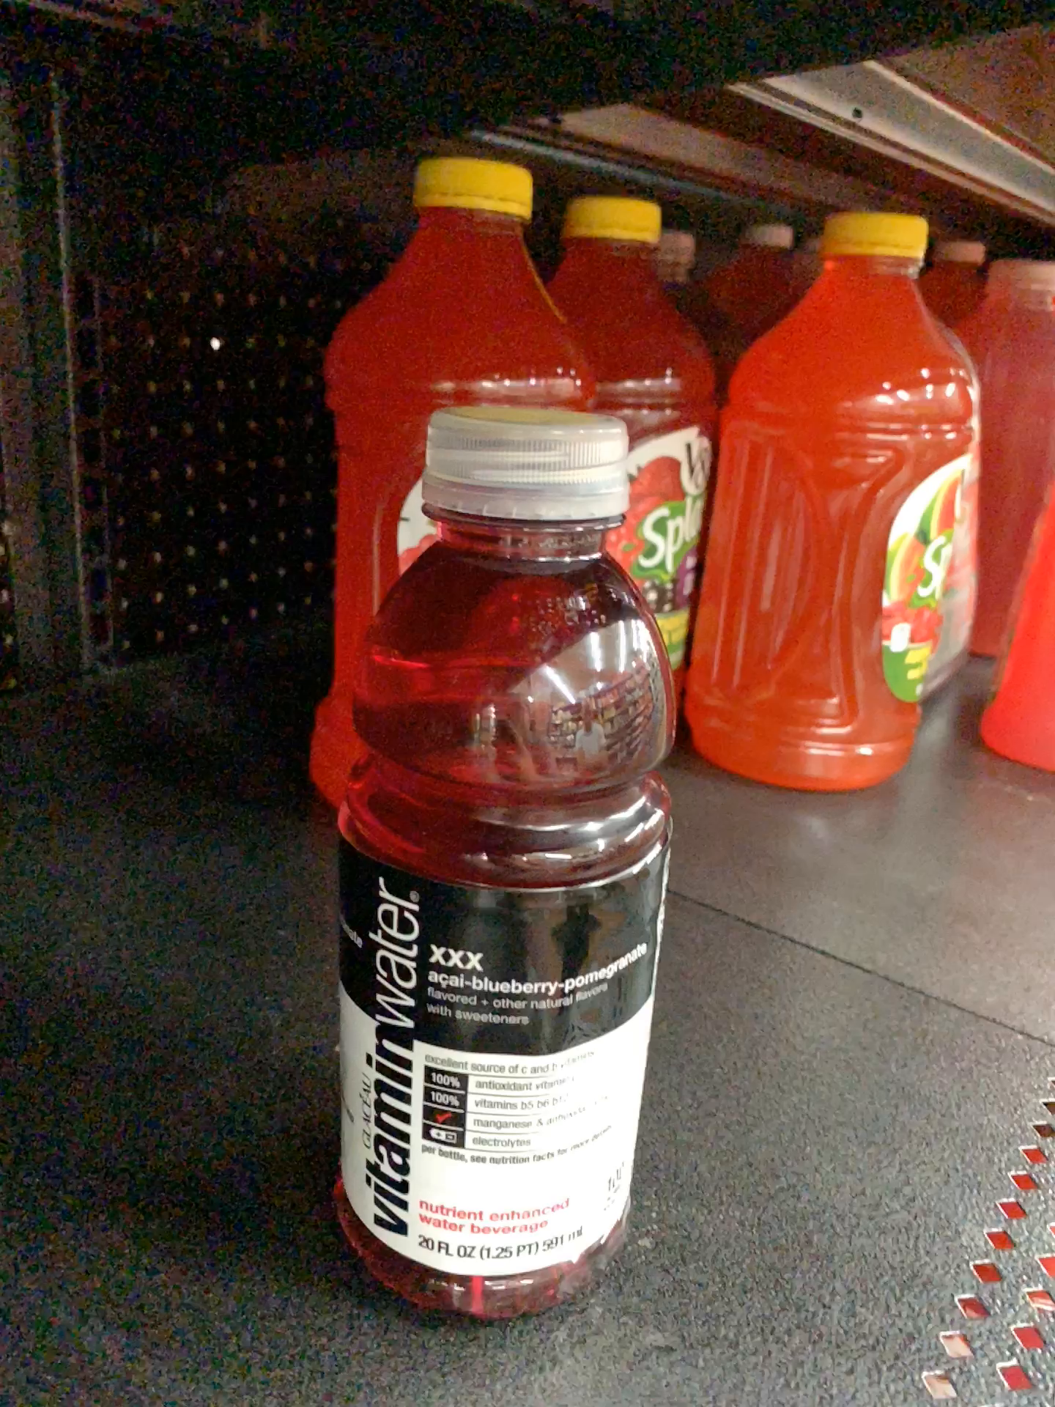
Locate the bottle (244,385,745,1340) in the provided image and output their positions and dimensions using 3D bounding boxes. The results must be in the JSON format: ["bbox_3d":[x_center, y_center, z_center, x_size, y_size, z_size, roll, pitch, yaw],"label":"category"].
[{"bbox_3d":[-0.007,0.030,0.240,0.080,0.179,0.080,4,20,-2],"label":"bottle"}]
